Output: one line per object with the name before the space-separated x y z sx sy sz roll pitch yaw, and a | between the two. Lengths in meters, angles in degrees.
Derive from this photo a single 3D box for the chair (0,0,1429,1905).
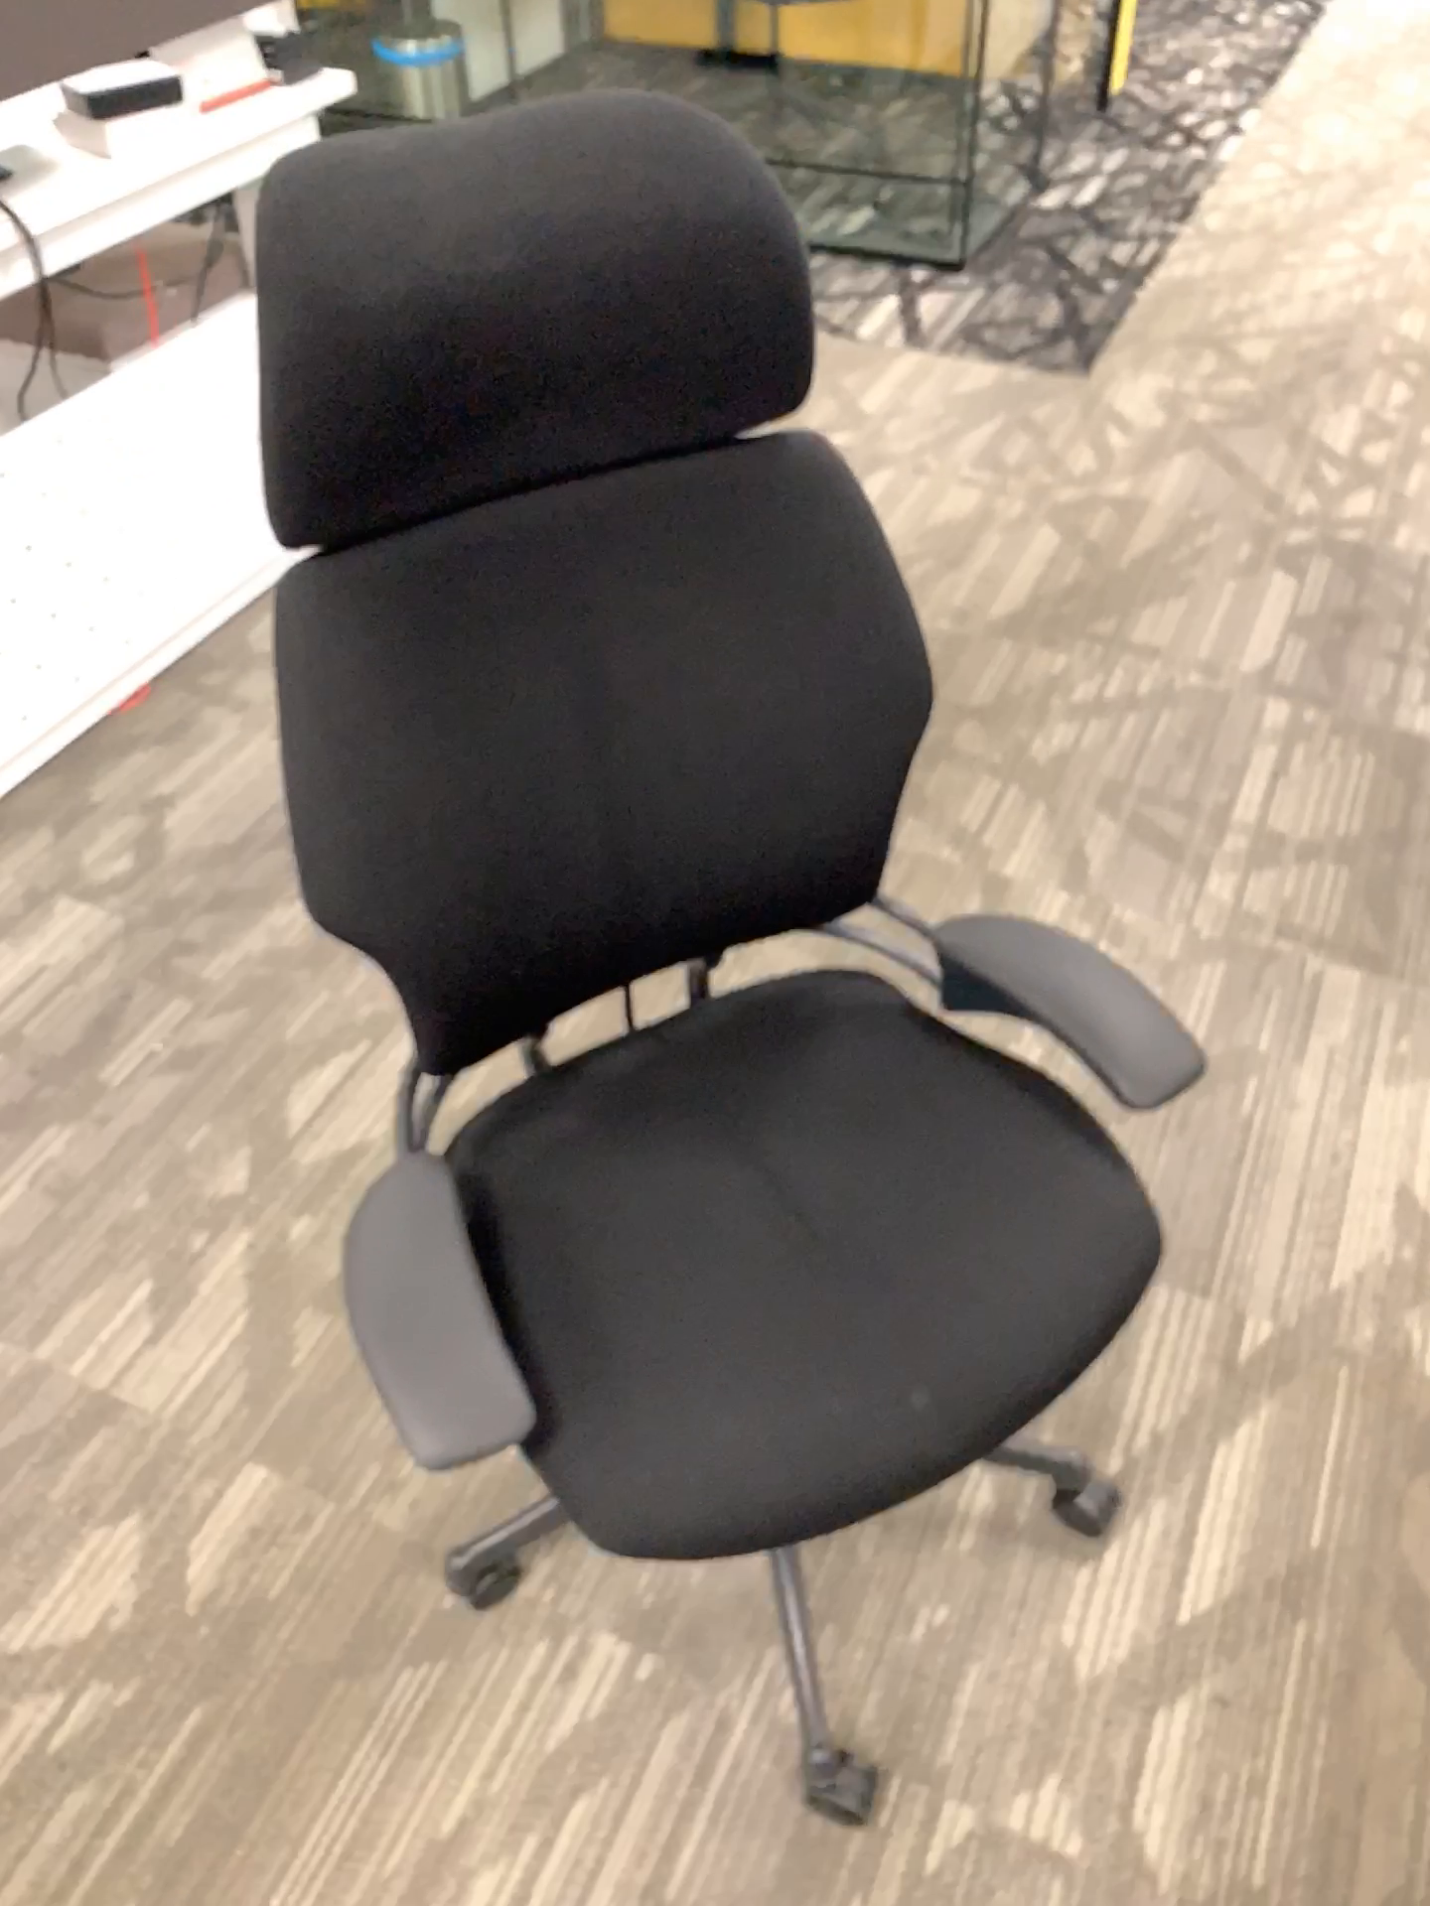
chair | 0.029 0.049 1.088 0.691 1.091 0.775 -23 47 -20
